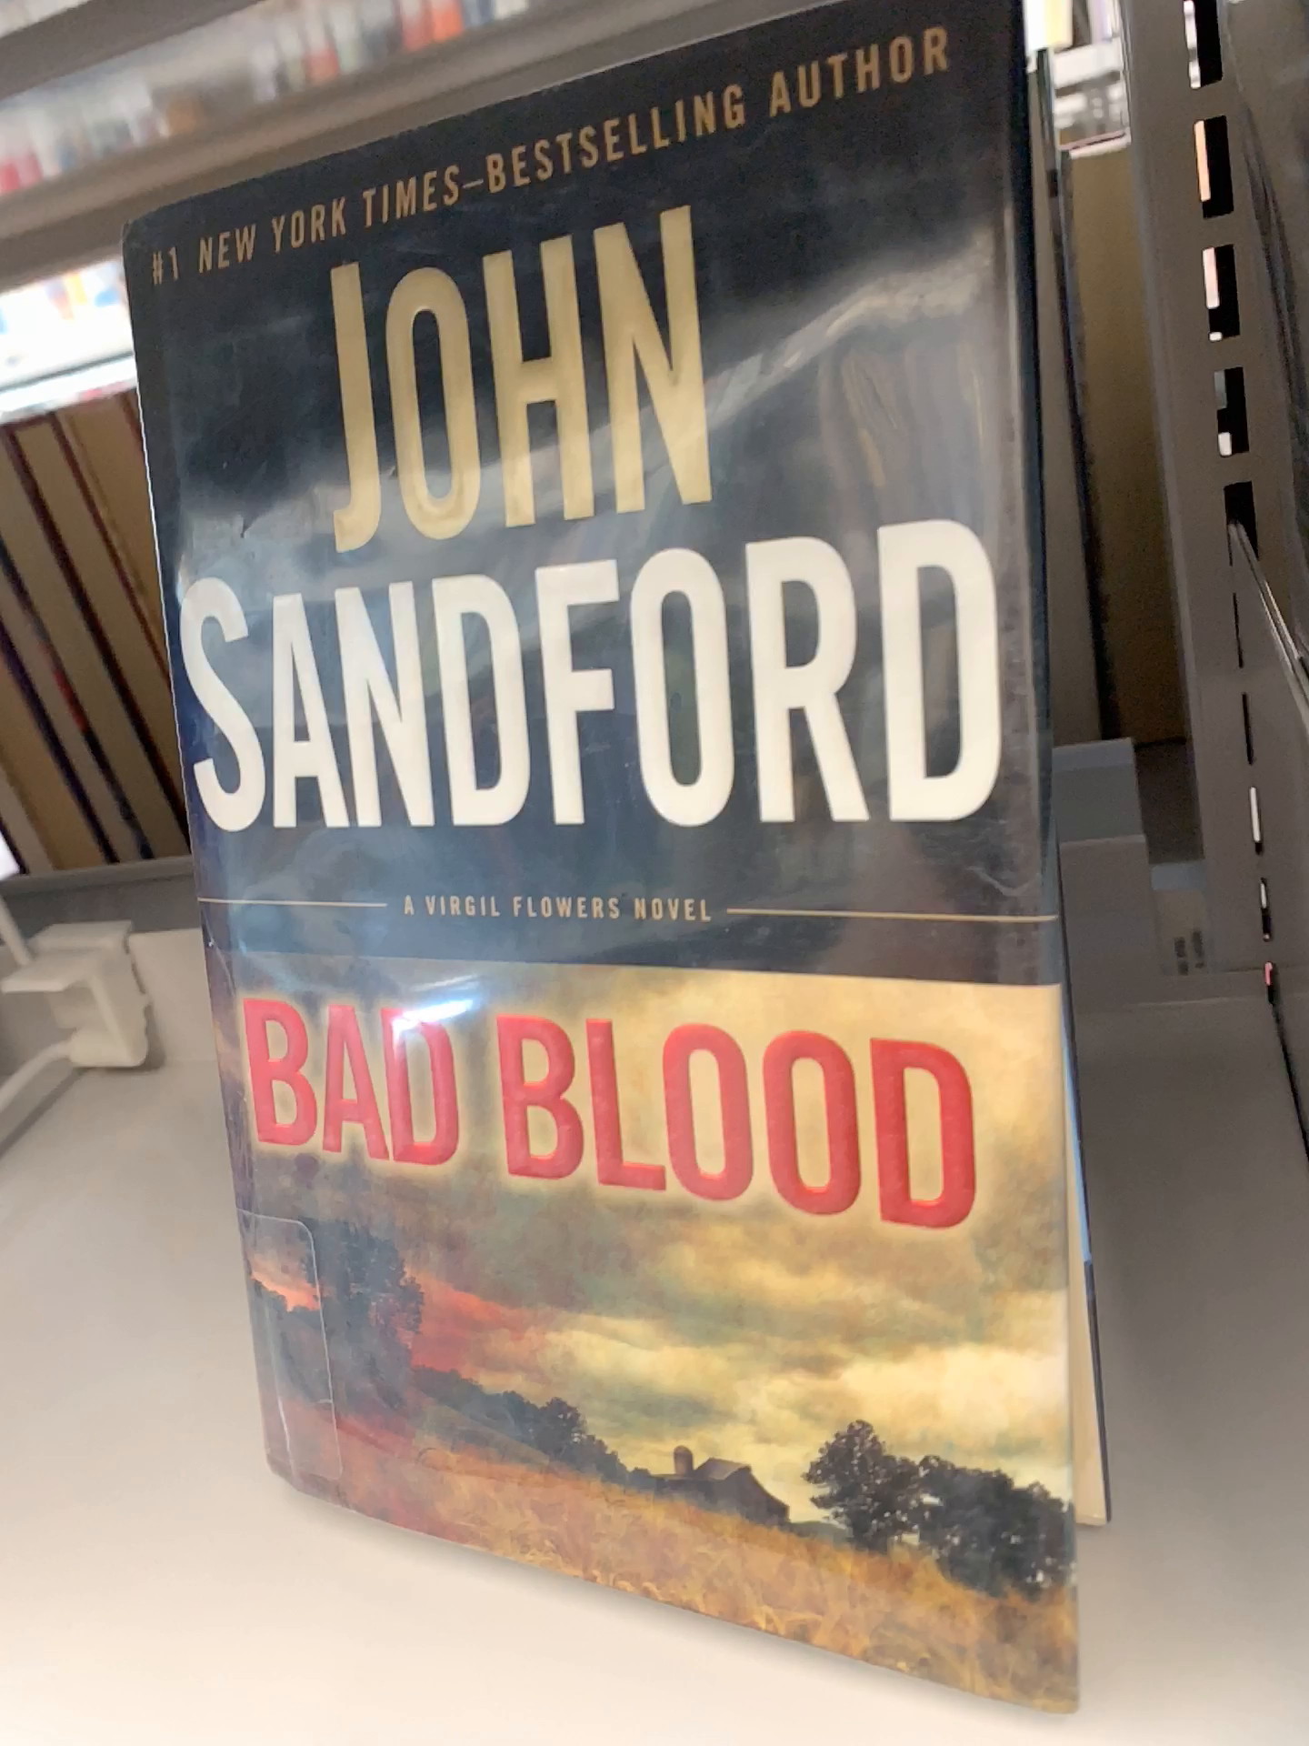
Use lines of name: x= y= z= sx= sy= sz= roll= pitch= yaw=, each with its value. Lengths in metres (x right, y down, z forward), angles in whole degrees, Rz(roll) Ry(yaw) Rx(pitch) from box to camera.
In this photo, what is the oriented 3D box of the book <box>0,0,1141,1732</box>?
book: x=-0.020 y=0.000 z=0.218 sx=0.166 sy=0.215 sz=0.050 roll=-1 pitch=12 yaw=30
